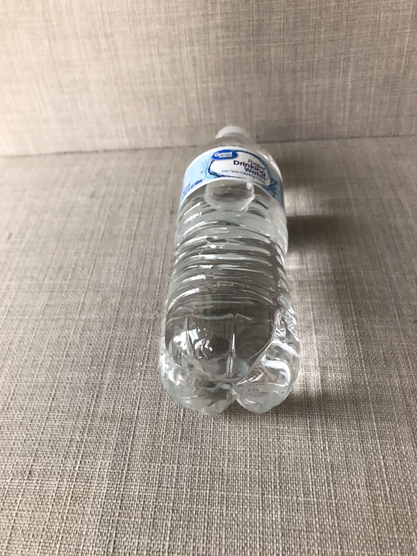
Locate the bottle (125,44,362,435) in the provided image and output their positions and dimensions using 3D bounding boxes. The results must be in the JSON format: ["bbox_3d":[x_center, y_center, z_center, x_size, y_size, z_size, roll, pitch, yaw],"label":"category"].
[{"bbox_3d":[0.015,-0.041,0.279,0.070,0.079,0.232,20,44,-18],"label":"bottle"}]
